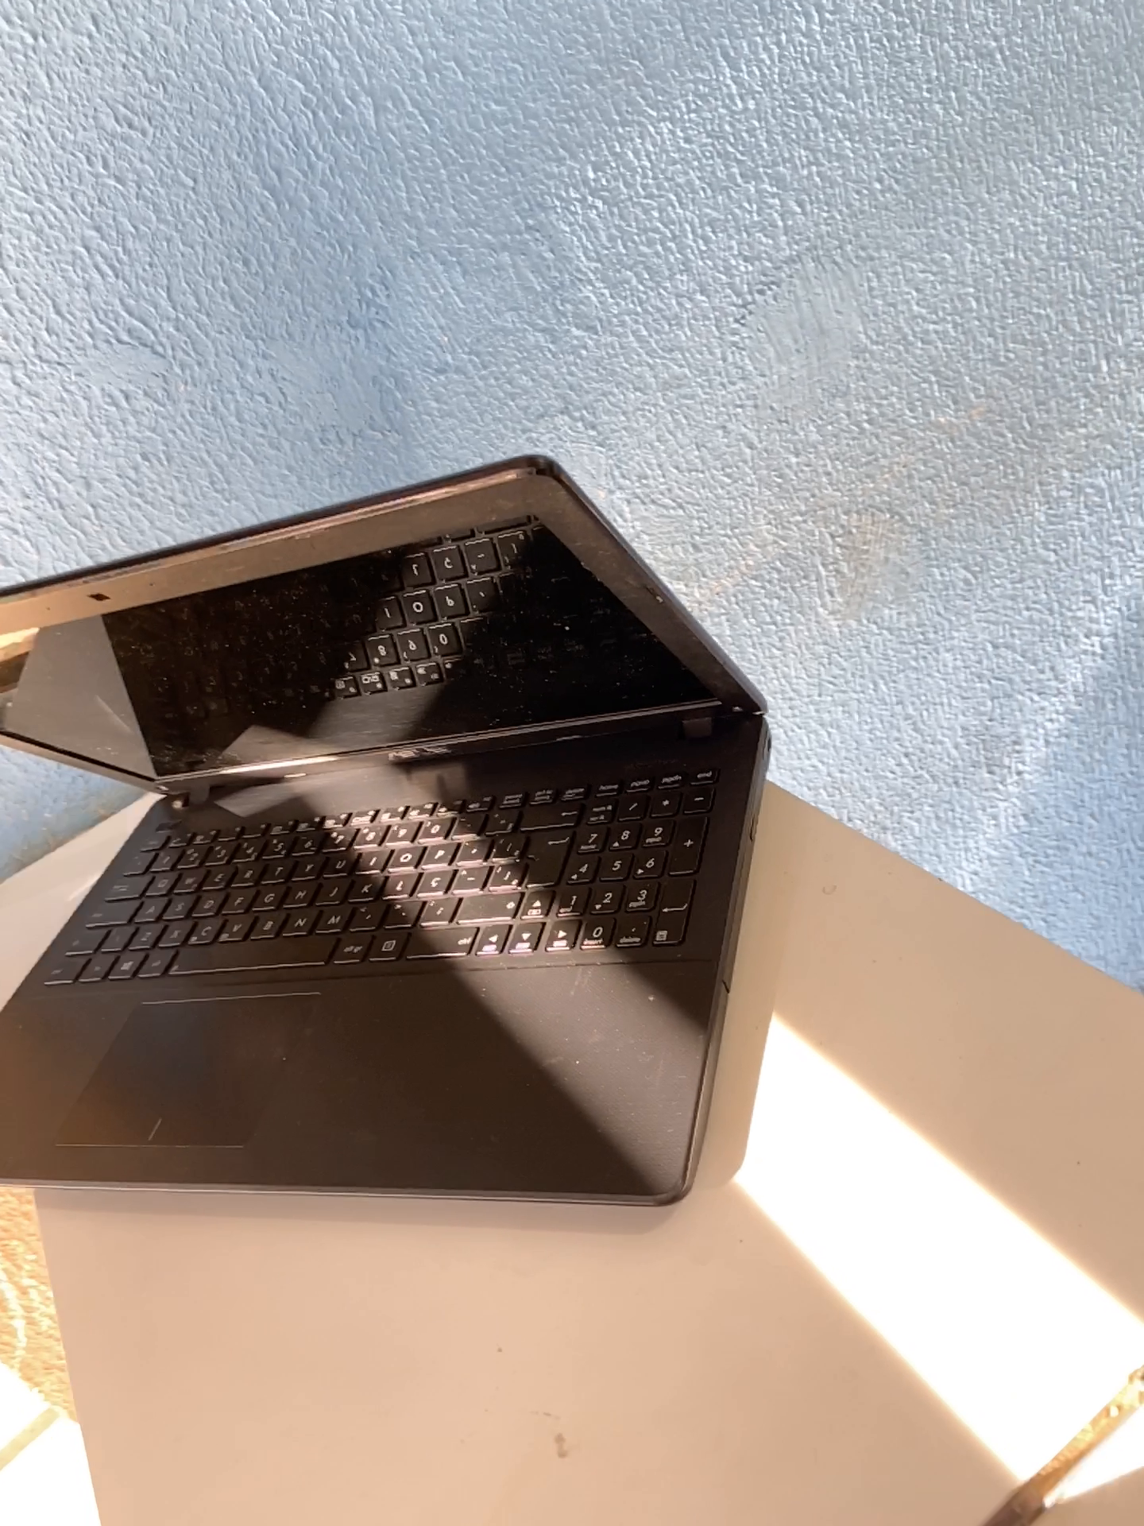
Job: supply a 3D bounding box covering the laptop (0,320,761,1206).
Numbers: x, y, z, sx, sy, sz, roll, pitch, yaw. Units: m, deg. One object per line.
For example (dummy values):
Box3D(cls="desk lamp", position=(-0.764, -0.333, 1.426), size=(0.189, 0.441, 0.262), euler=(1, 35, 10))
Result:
Box3D(cls="laptop", position=(-0.141, 0.009, 0.486), size=(0.373, 0.190, 0.240), euler=(-8, 37, 25))
